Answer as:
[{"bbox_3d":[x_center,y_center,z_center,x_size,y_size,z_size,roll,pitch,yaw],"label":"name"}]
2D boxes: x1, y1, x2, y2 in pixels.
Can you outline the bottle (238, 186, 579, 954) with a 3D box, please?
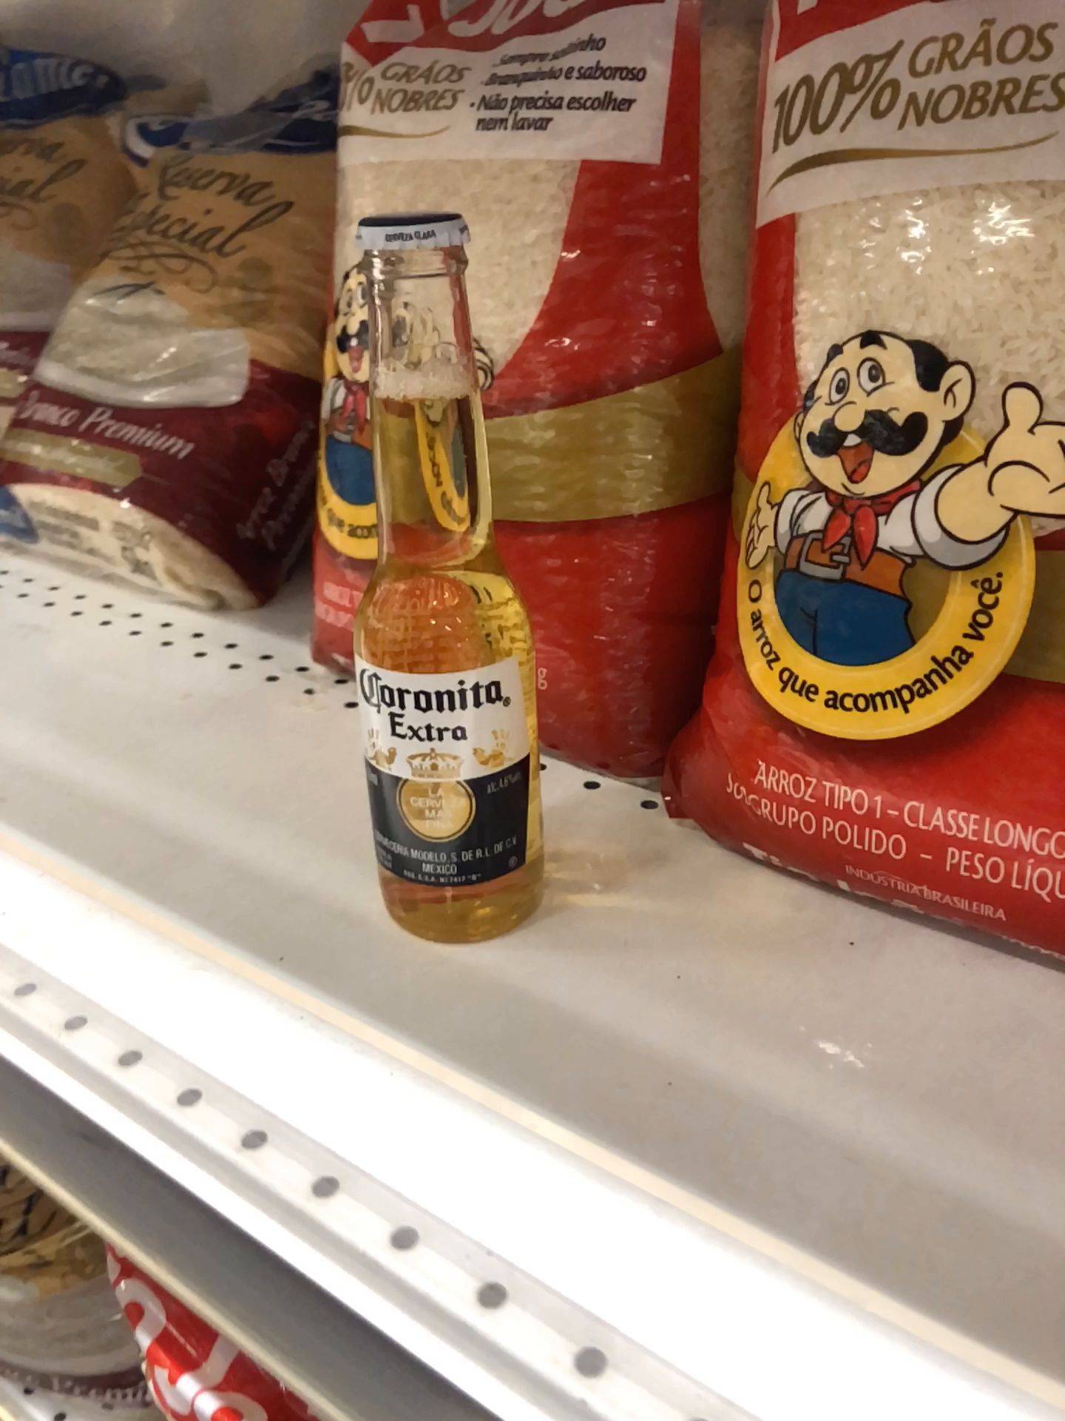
[{"bbox_3d":[-0.025,-0.033,0.328,0.060,0.198,0.060,-3,27,1],"label":"bottle"}]
